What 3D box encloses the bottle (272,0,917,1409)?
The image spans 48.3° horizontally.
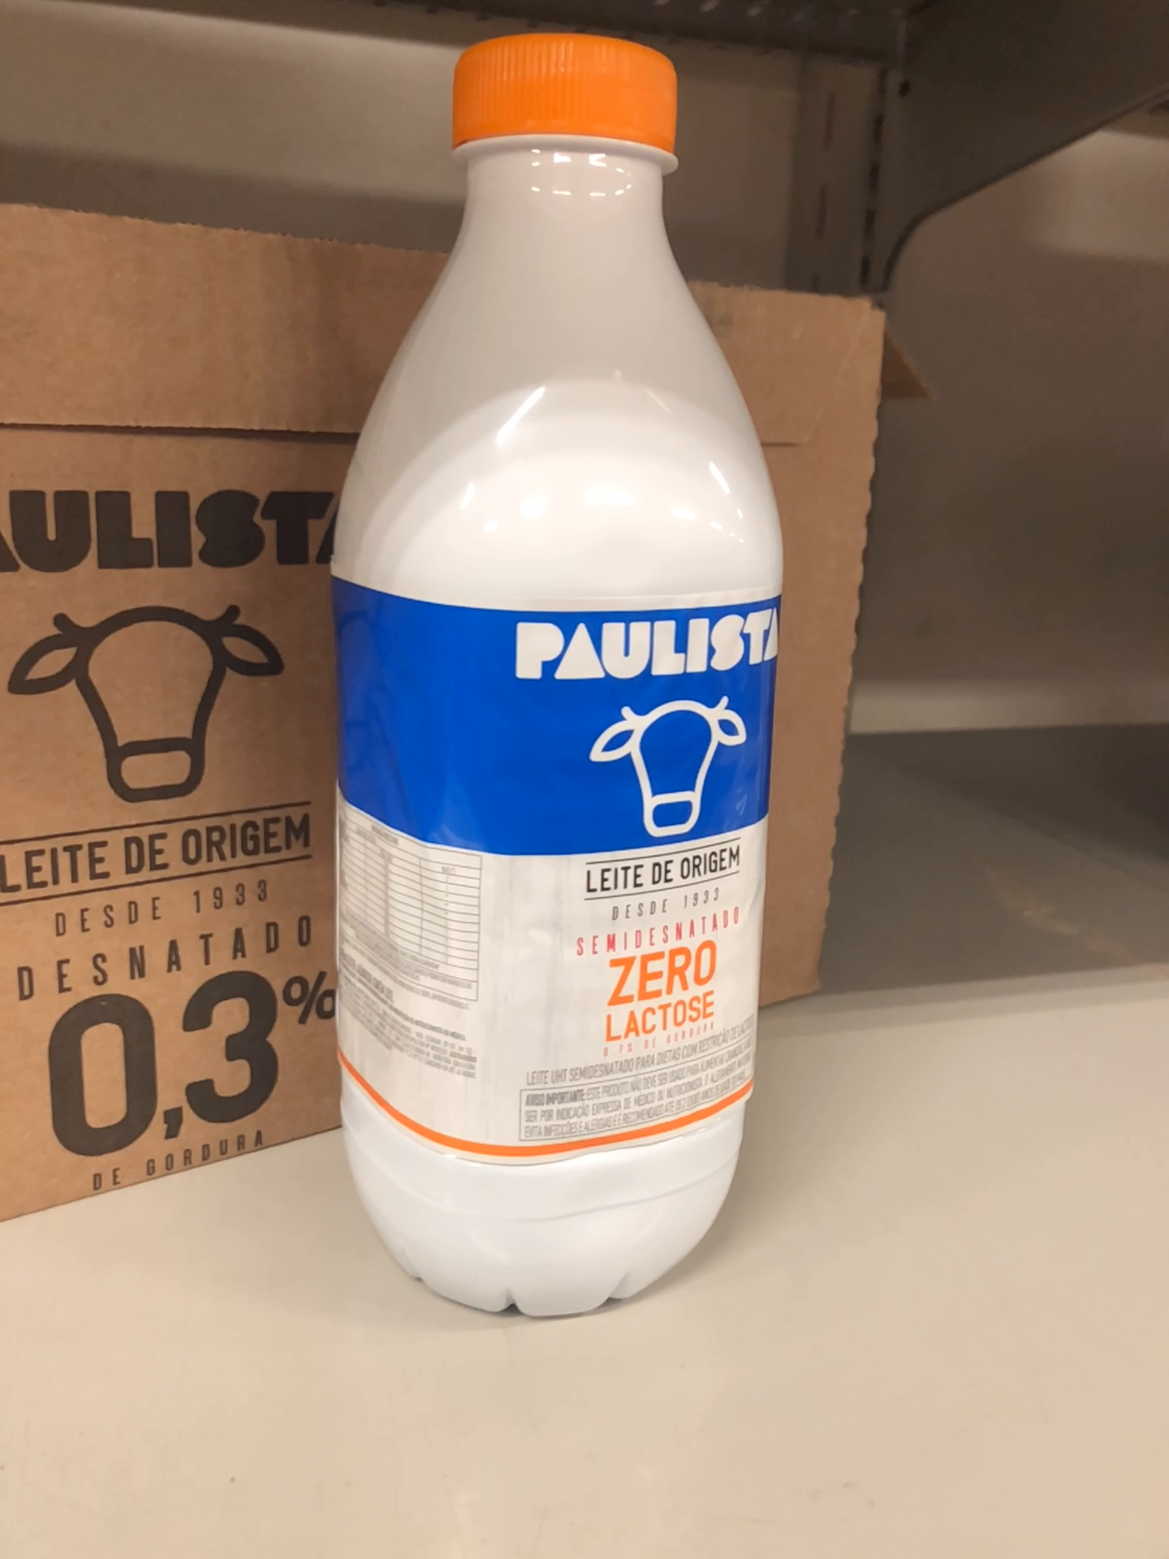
[{"bbox_3d":[-0.005,-0.016,0.249,0.080,0.229,0.080,2,15,0],"label":"bottle"}]
